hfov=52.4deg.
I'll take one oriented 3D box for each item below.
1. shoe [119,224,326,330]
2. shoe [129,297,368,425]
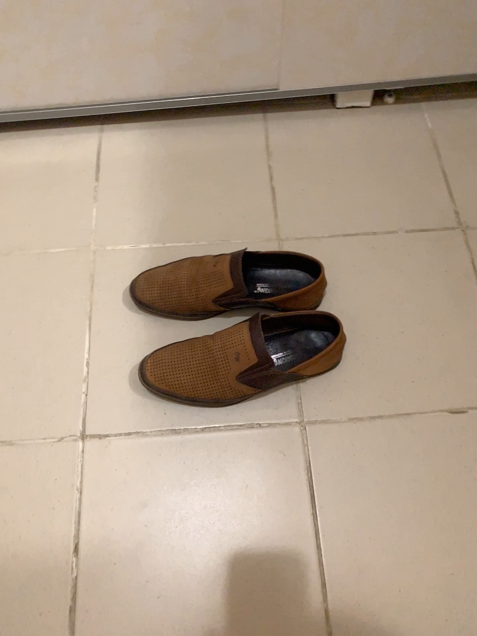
[{"bbox_3d":[-0.023,-0.057,0.690,0.270,0.080,0.110,-3,66,-1],"label":"shoe"},{"bbox_3d":[0.009,0.060,0.655,0.290,0.090,0.110,-8,66,-3],"label":"shoe"}]
